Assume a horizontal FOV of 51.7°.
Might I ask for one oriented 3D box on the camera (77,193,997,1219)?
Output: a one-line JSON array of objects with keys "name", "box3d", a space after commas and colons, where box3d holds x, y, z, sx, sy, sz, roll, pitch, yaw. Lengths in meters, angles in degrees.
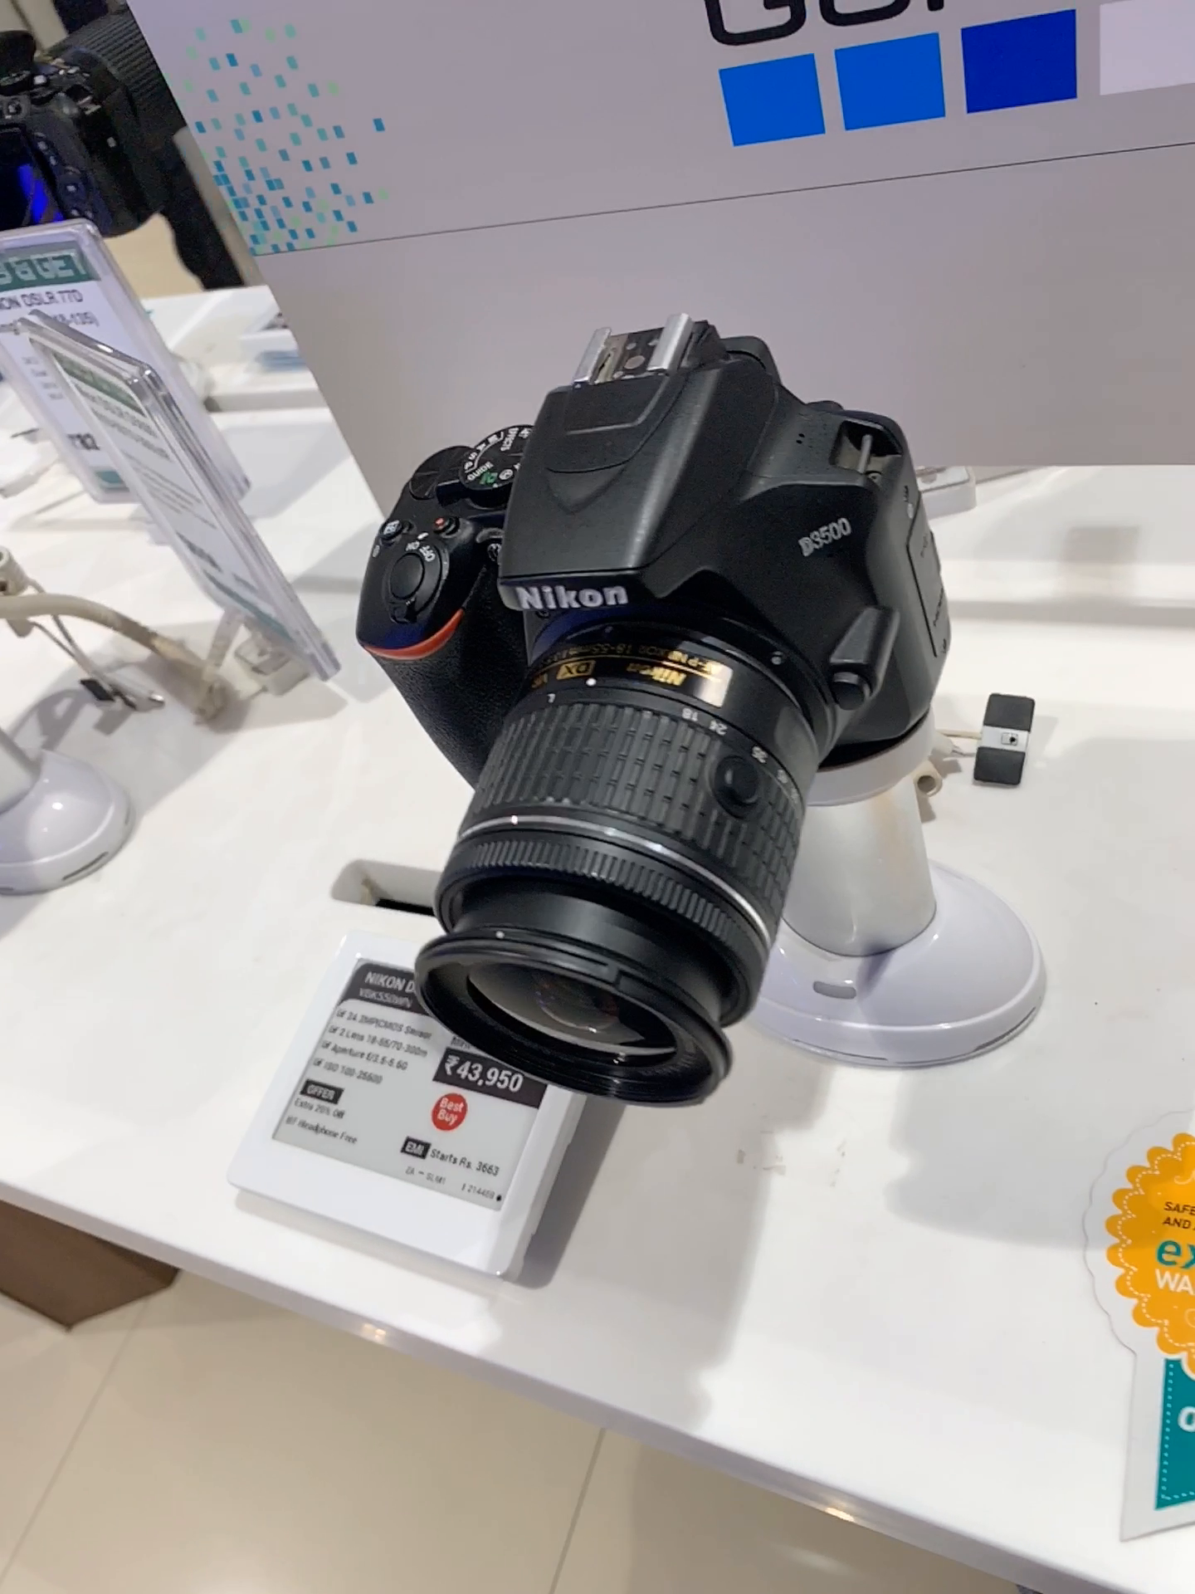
[{"name": "camera", "box3d": [0.009, -0.027, 0.258, 0.120, 0.090, 0.180, 2, 52, 24]}]
